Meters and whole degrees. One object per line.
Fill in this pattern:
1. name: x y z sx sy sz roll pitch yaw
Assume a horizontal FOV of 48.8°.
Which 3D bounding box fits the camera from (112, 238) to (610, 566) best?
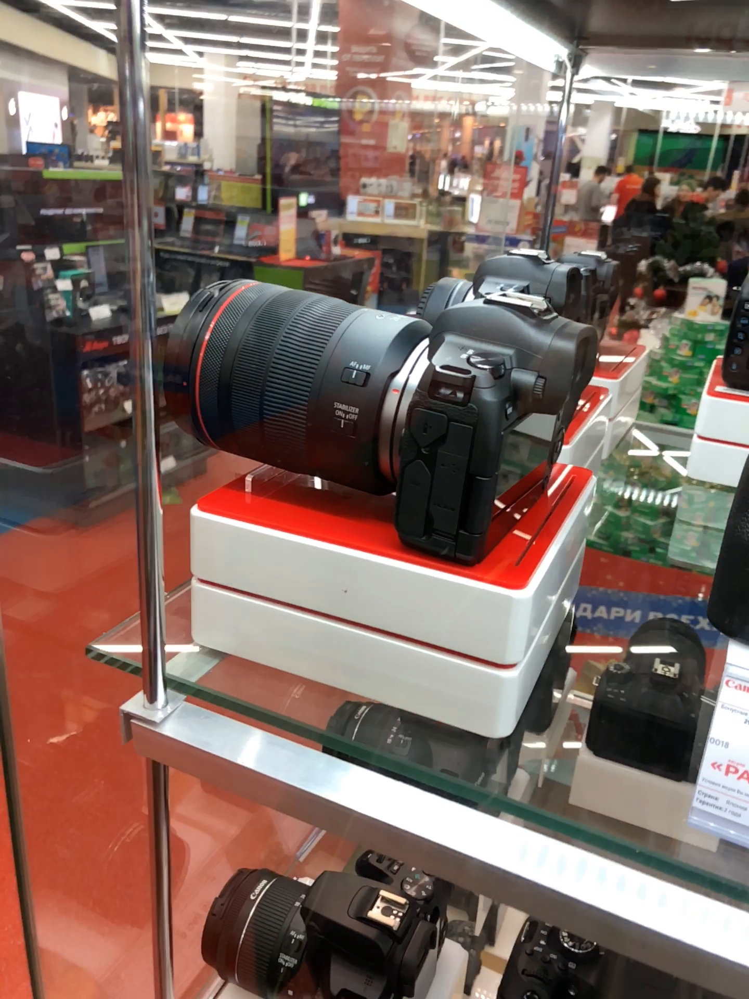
1. camera: -0.001 -0.061 0.389 0.180 0.093 0.145 14 24 21
